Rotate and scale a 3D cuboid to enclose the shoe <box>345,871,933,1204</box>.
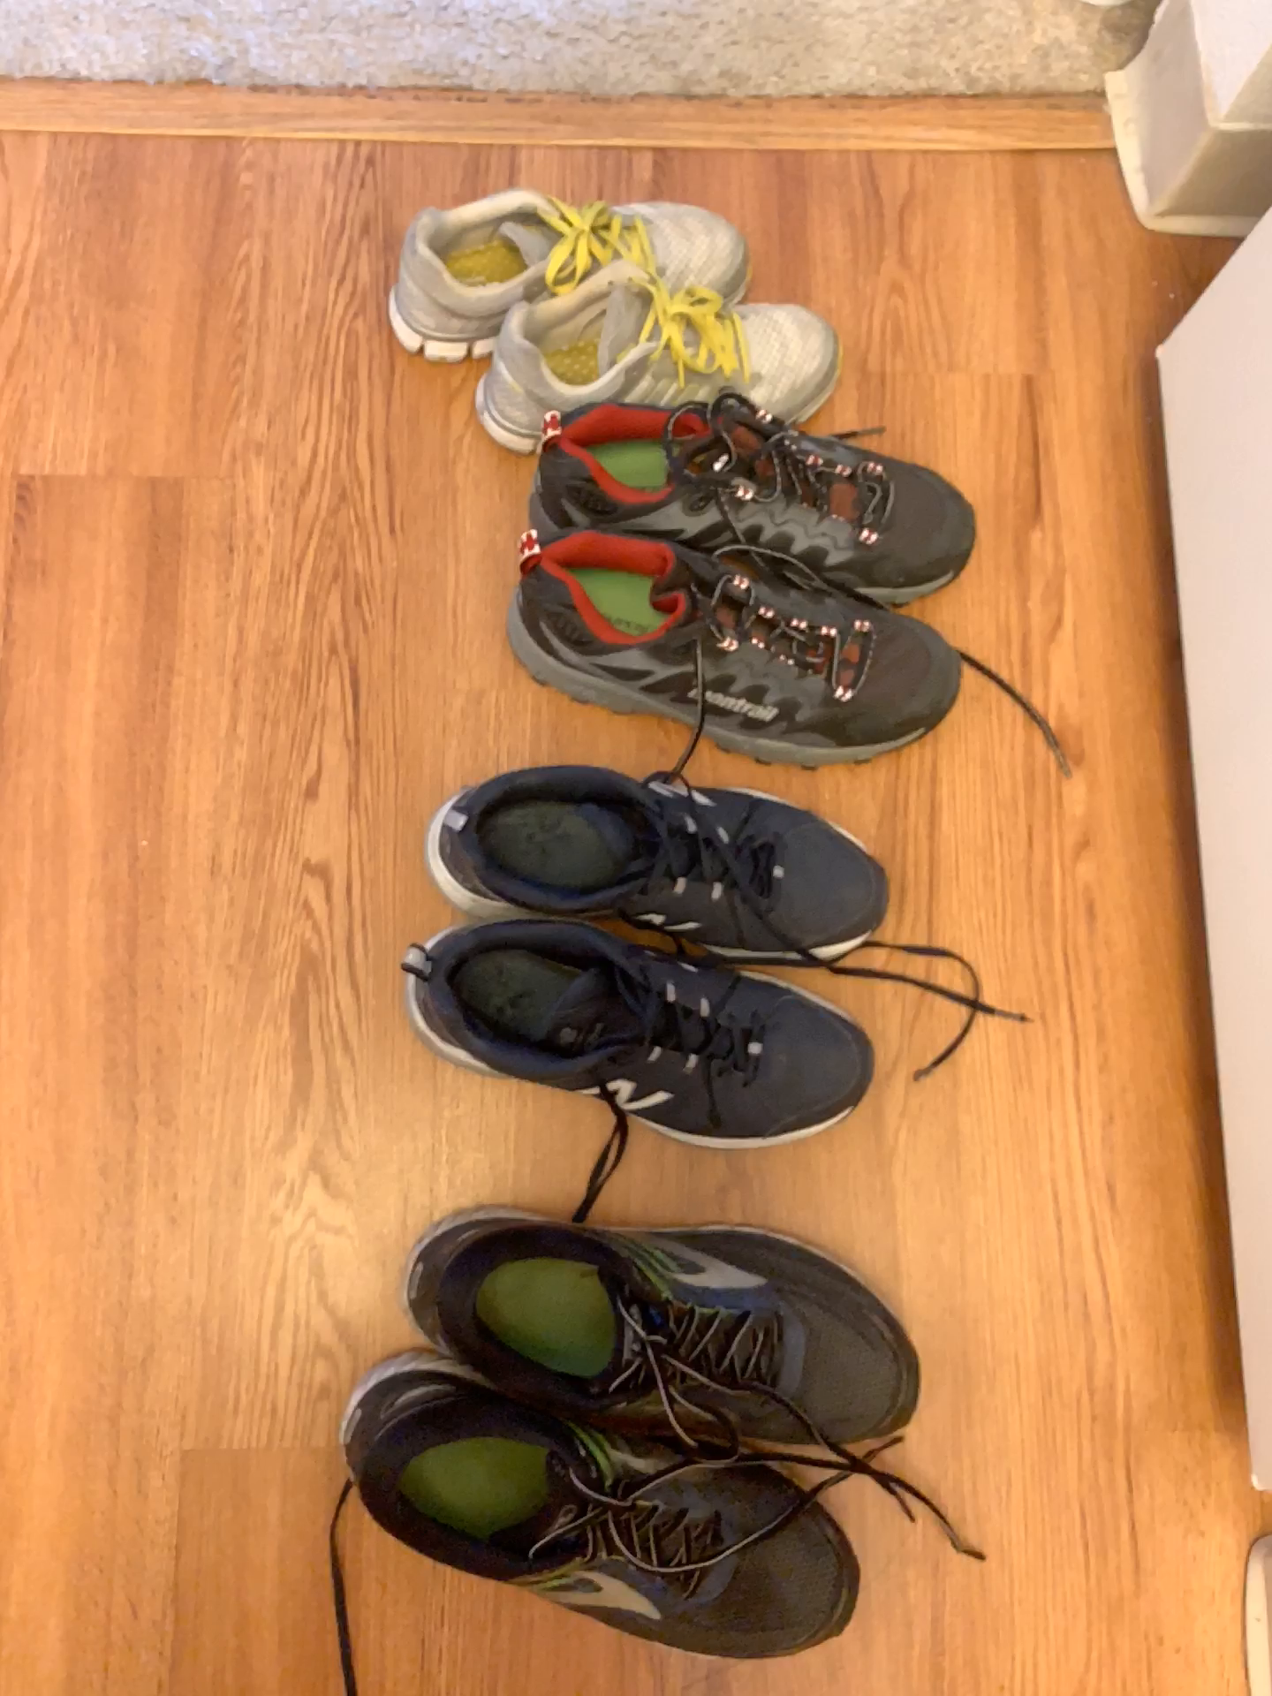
[{"bbox_3d":[0.002,0.114,0.781,0.310,0.100,0.120,13,78,-1],"label":"shoe"}]

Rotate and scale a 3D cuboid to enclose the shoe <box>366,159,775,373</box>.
[{"bbox_3d":[-0.046,-0.413,0.934,0.270,0.080,0.080,-9,79,-5],"label":"shoe"}]

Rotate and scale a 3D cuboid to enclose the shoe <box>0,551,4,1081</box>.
[{"bbox_3d":[-0.507,-0.017,0.792,0.110,0.080,0.290,17,78,0],"label":"shoe"}]

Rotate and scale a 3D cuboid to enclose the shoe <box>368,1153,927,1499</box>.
[{"bbox_3d":[0.006,0.274,0.775,0.290,0.110,0.110,15,78,0],"label":"shoe"}]

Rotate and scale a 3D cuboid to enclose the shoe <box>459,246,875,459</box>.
[{"bbox_3d":[0.019,-0.346,0.919,0.270,0.080,0.080,-9,79,-5],"label":"shoe"}]

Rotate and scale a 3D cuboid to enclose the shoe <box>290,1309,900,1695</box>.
[{"bbox_3d":[-0.023,0.386,0.761,0.310,0.110,0.110,21,79,1],"label":"shoe"}]

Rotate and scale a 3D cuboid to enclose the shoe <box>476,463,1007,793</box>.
[{"bbox_3d":[0.065,-0.138,0.850,0.310,0.090,0.120,13,78,0],"label":"shoe"}]

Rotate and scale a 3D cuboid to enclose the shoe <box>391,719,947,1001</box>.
[{"bbox_3d":[0.020,0.012,0.805,0.310,0.100,0.120,7,79,-2],"label":"shoe"}]

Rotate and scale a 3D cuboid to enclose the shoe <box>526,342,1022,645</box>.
[{"bbox_3d":[0.087,-0.231,0.869,0.300,0.090,0.100,13,78,0],"label":"shoe"}]
